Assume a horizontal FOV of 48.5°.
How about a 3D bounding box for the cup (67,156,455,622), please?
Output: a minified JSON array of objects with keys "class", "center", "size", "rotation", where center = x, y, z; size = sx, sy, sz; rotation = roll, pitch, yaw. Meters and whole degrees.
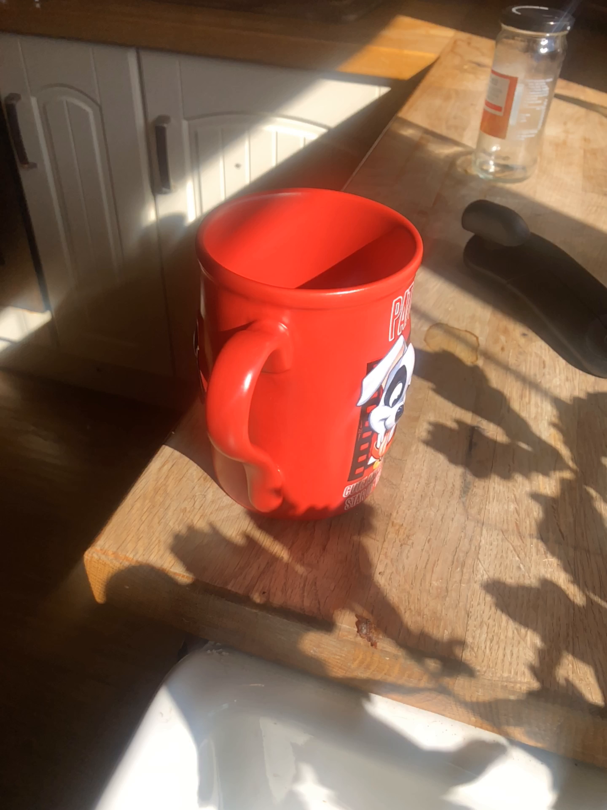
[{"class":"cup","center":[-0.008,-0.013,0.280],"size":[0.094,0.119,0.132],"rotation":[16,43,13]}]
